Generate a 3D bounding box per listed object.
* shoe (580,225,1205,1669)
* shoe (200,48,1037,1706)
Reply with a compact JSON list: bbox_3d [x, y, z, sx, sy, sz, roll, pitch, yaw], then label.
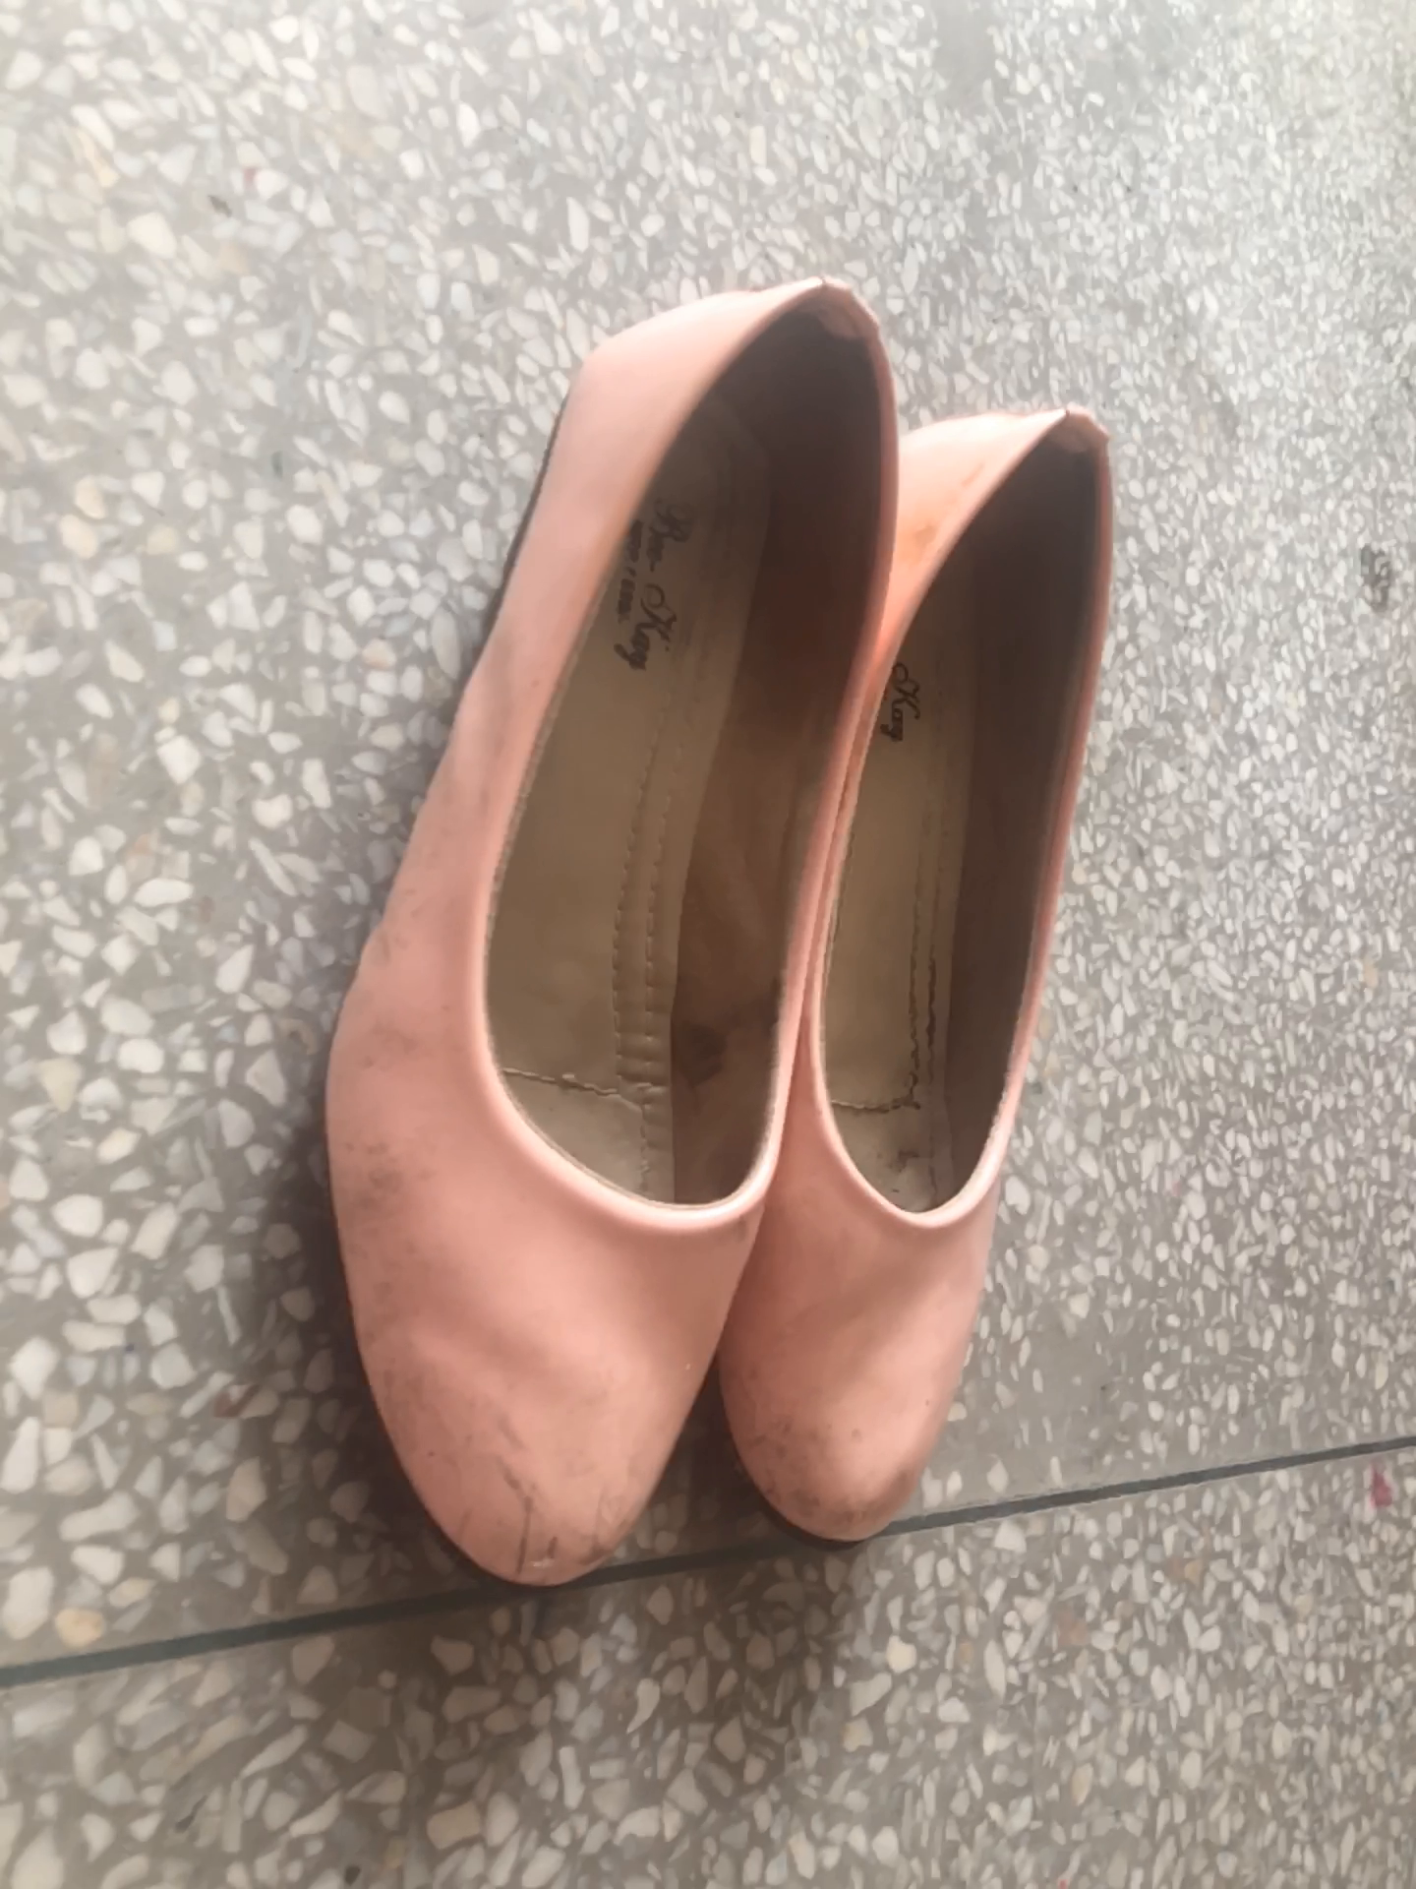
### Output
[{"bbox_3d":[0.043,0.001,0.333,0.090,0.070,0.260,12,79,-38],"label":"shoe"},{"bbox_3d":[-0.015,-0.009,0.297,0.090,0.070,0.260,12,86,-38],"label":"shoe"}]
